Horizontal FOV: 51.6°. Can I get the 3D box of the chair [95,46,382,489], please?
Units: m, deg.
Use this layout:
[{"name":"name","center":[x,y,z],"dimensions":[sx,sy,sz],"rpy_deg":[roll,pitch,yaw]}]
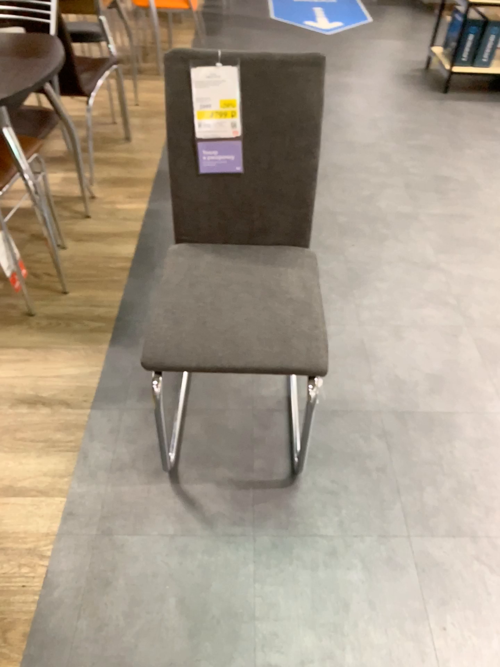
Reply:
[{"name":"chair","center":[-0.027,-0.108,1.315],"dimensions":[0.435,0.974,0.542],"rpy_deg":[1,43,-1]}]
